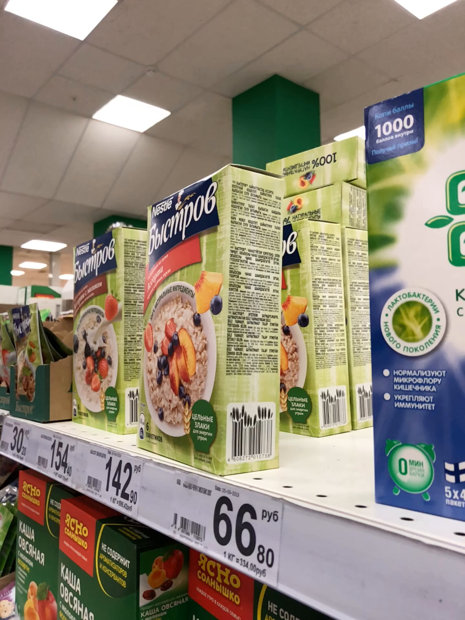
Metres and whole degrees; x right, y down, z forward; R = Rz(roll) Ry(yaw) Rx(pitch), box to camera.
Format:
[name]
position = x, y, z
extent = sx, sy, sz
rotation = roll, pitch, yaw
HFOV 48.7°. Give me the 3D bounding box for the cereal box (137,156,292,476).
[cereal box]
position = -0.018, 0.007, 0.387
extent = 0.050, 0.200, 0.130
rotation = 6, -8, -33
